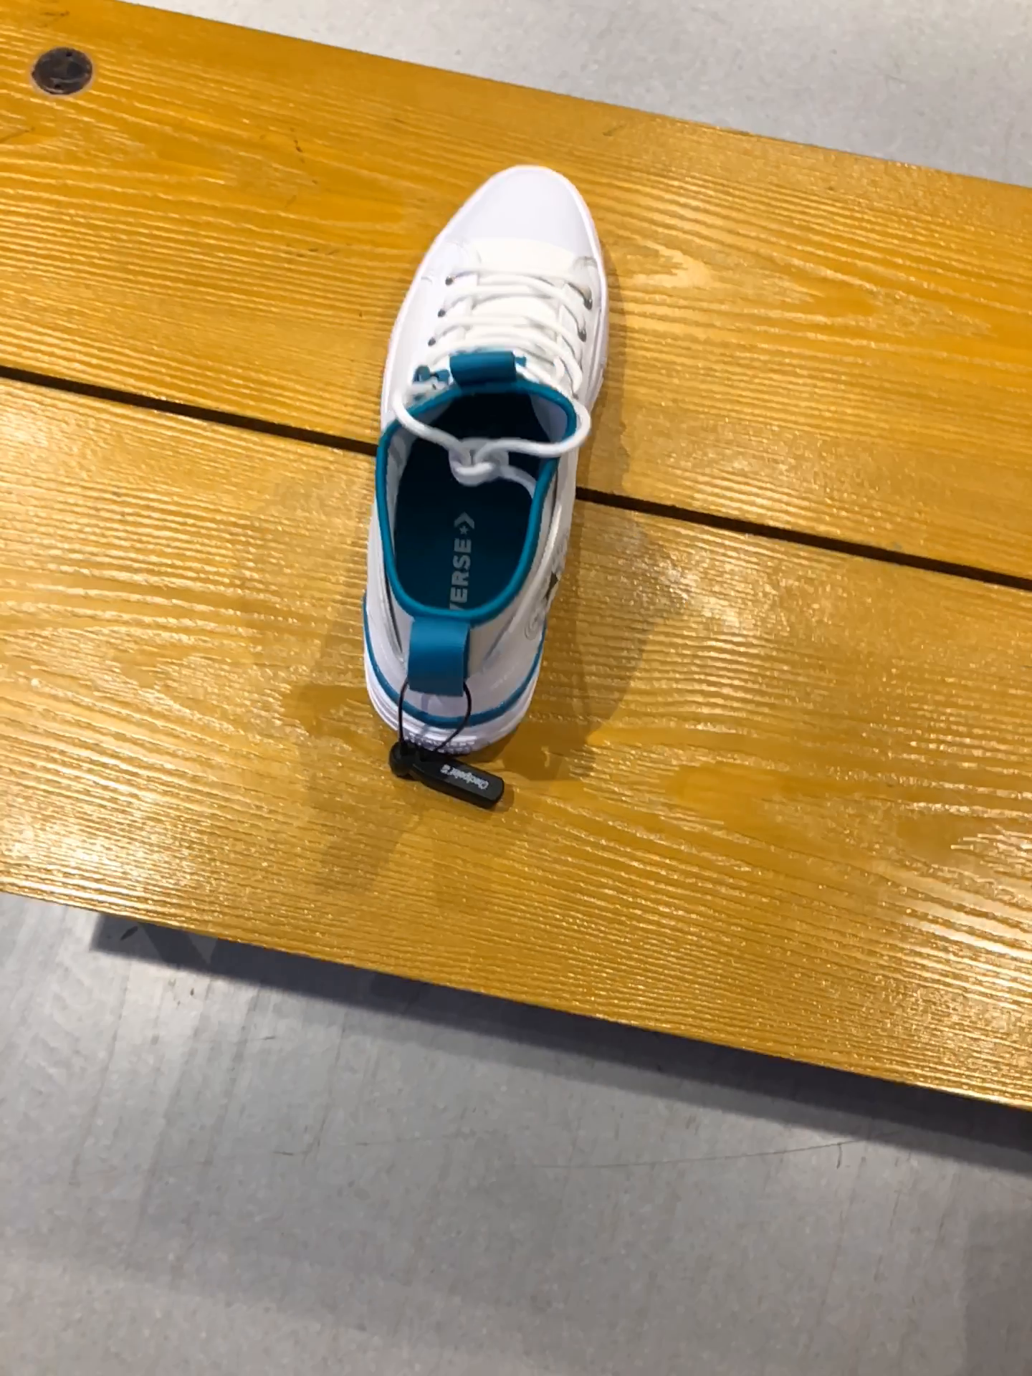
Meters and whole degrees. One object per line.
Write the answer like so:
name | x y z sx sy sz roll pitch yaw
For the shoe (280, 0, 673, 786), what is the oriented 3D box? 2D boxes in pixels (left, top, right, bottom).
shoe | -0.011 -0.123 0.491 0.108 0.158 0.294 7 73 -1
